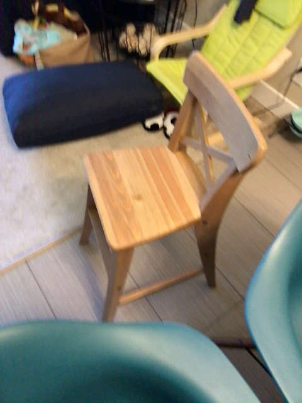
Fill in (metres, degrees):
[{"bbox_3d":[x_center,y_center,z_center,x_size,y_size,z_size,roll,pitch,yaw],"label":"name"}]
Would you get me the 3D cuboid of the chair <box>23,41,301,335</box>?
[{"bbox_3d":[0.000,0.014,0.949,0.491,0.686,0.442,-15,60,-15],"label":"chair"}]
